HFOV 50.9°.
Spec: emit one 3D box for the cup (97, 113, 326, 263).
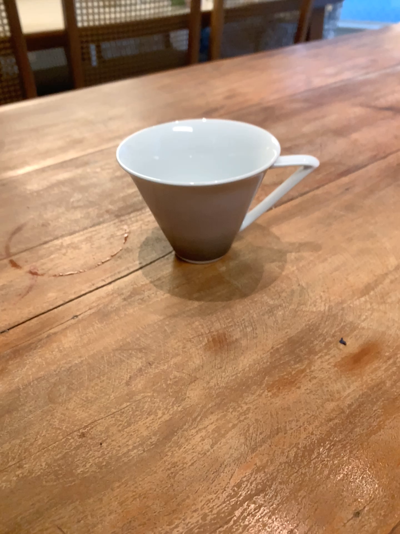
[{"bbox_3d":[0.007,-0.054,0.274,0.120,0.060,0.091,-1,37,2],"label":"cup"}]
